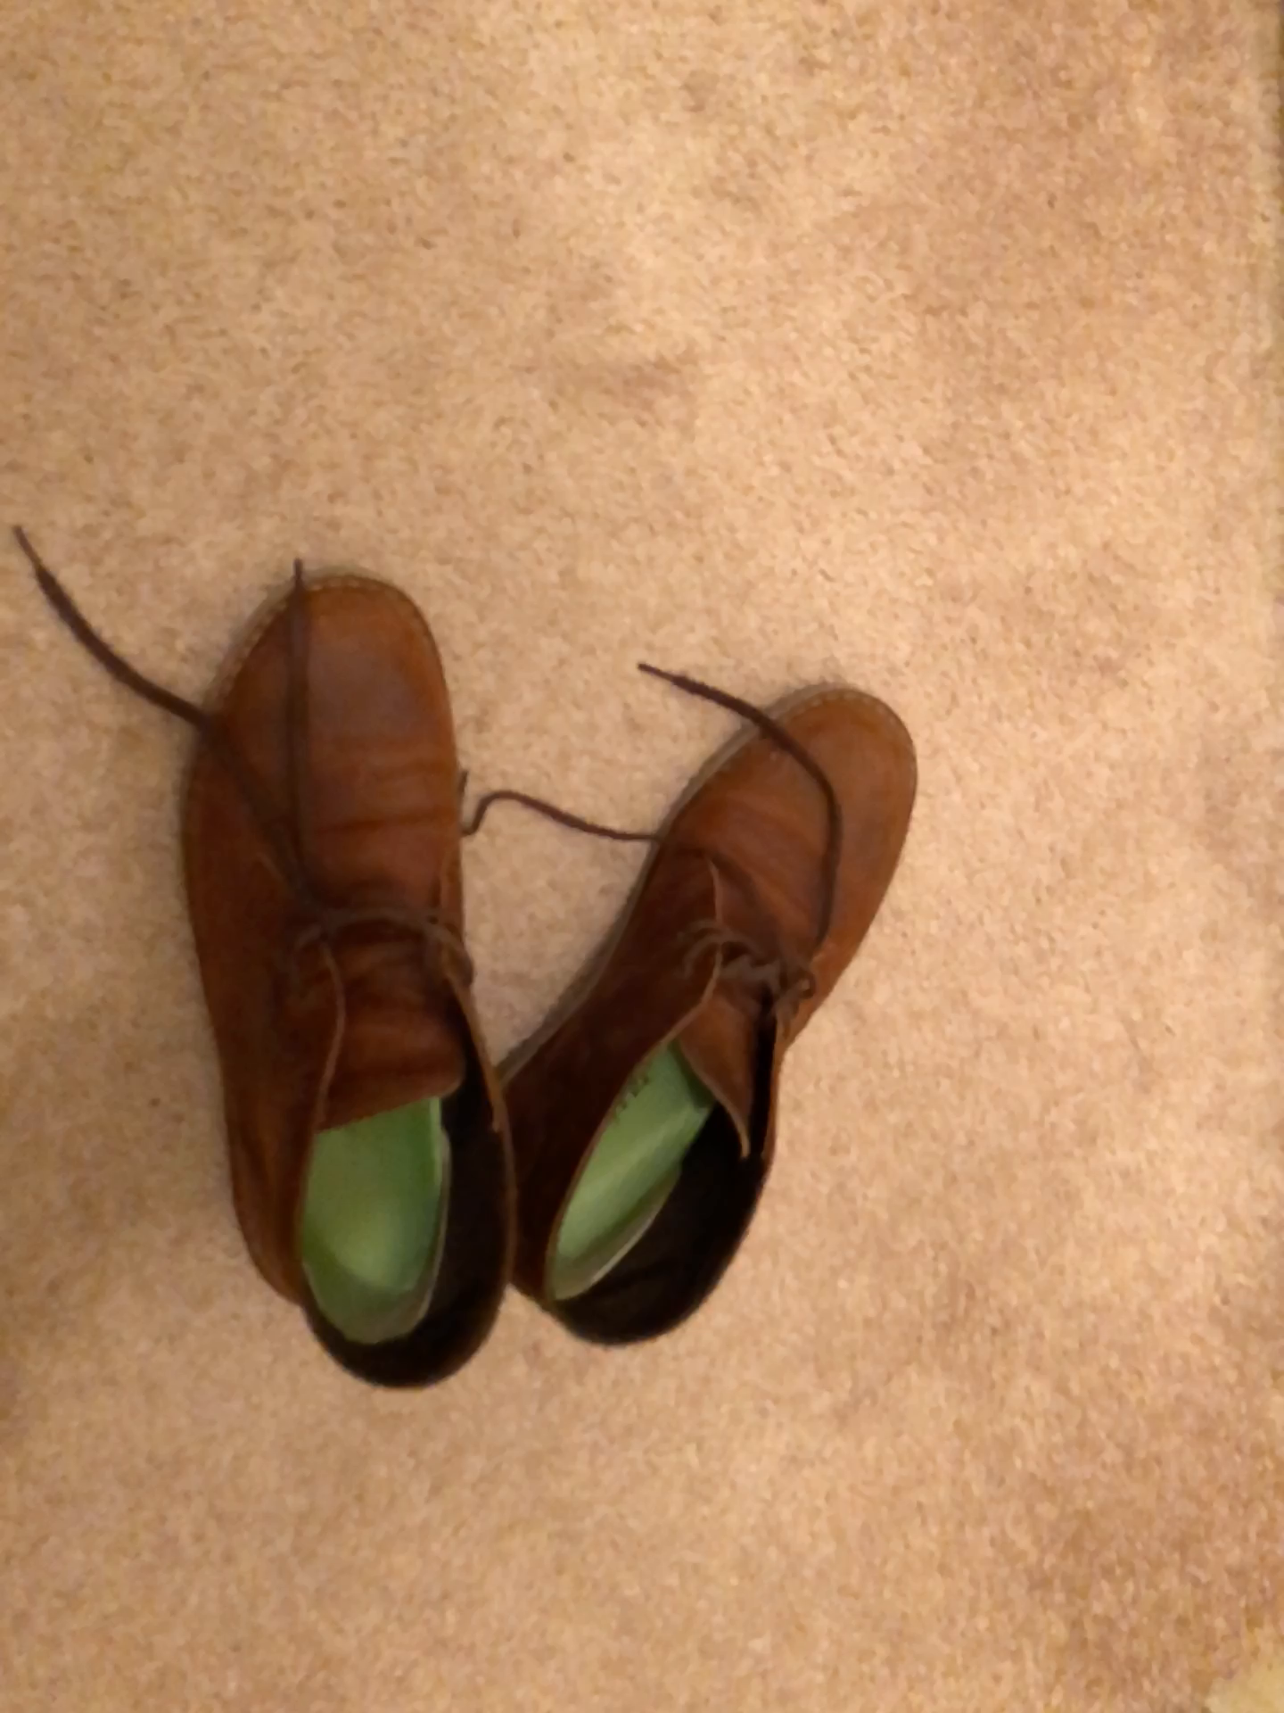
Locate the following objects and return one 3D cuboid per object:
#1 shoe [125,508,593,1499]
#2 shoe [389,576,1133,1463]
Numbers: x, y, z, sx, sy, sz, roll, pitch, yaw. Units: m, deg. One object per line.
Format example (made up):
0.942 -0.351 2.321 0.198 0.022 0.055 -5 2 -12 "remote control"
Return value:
-0.106 0.041 0.509 0.110 0.139 0.303 -8 97 -18 "shoe"
0.039 0.052 0.559 0.110 0.139 0.303 35 83 -18 "shoe"
